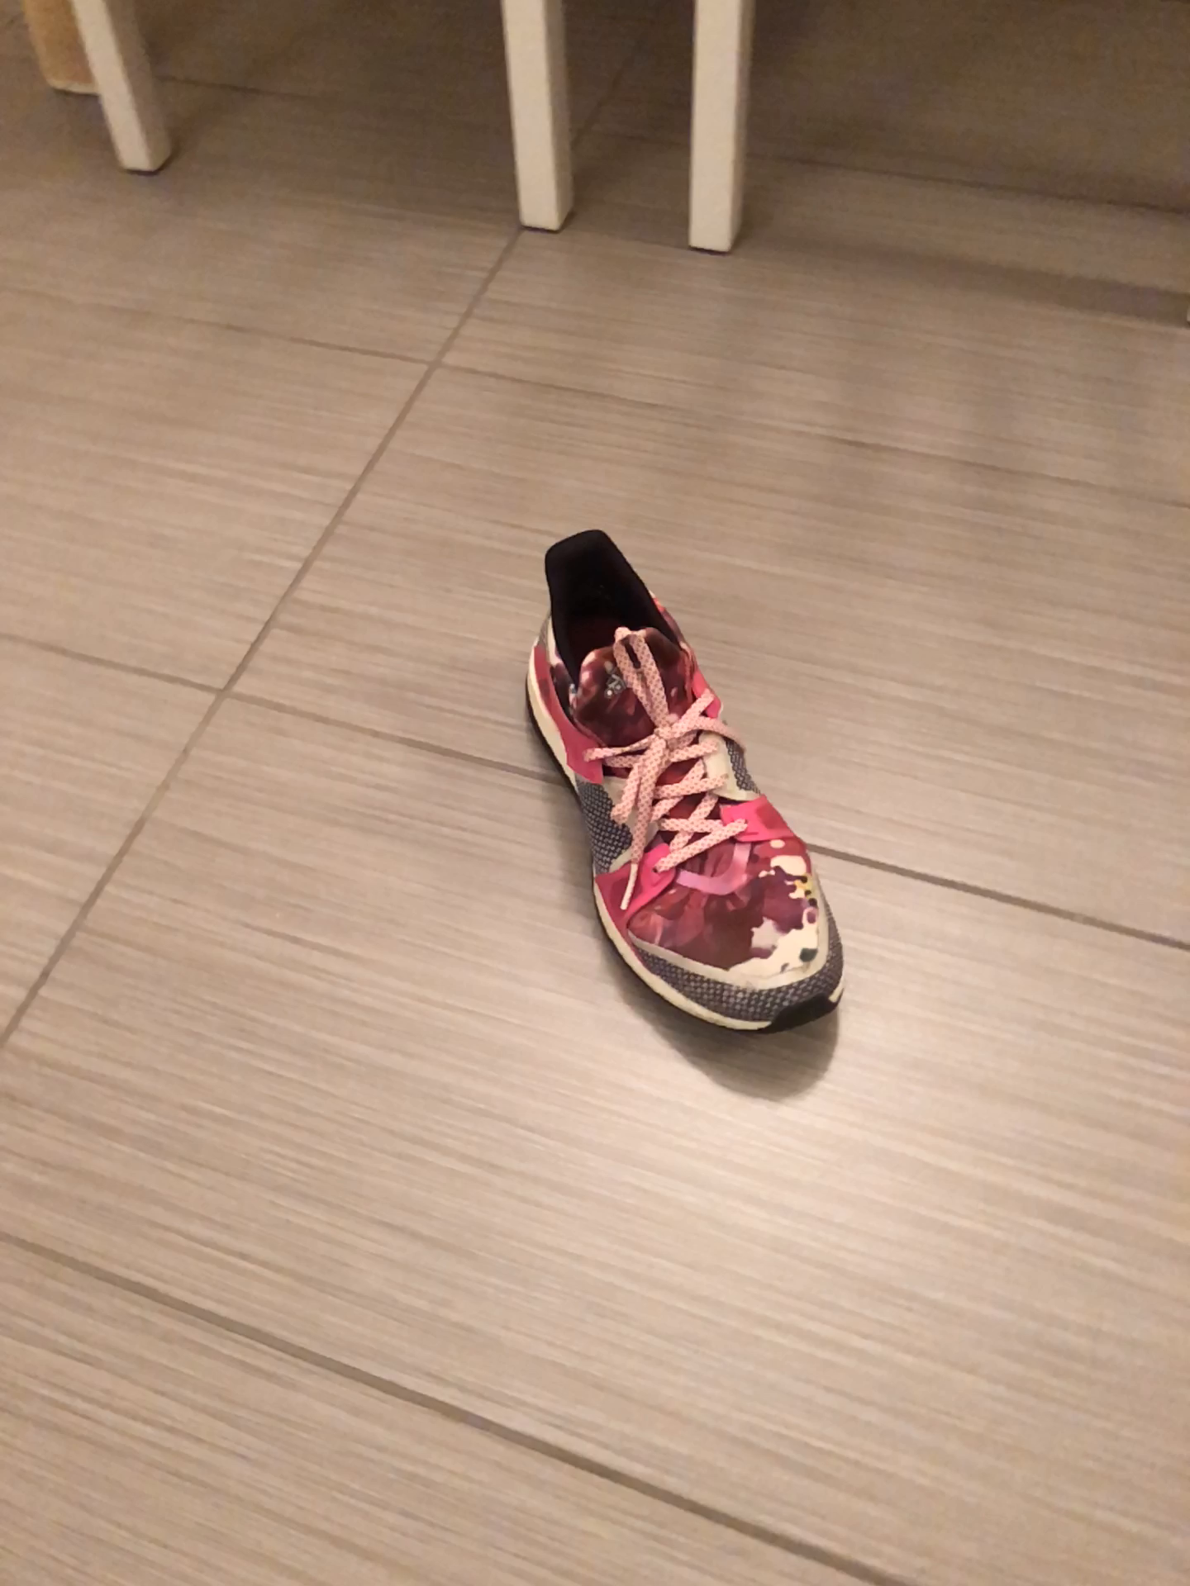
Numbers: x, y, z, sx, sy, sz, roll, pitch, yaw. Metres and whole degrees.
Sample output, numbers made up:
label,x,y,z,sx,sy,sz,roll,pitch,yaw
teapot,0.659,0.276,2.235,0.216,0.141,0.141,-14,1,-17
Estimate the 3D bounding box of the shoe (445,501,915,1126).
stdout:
label,x,y,z,sx,sy,sz,roll,pitch,yaw
shoe,0.029,-0.002,0.627,0.110,0.090,0.281,-20,56,-9
